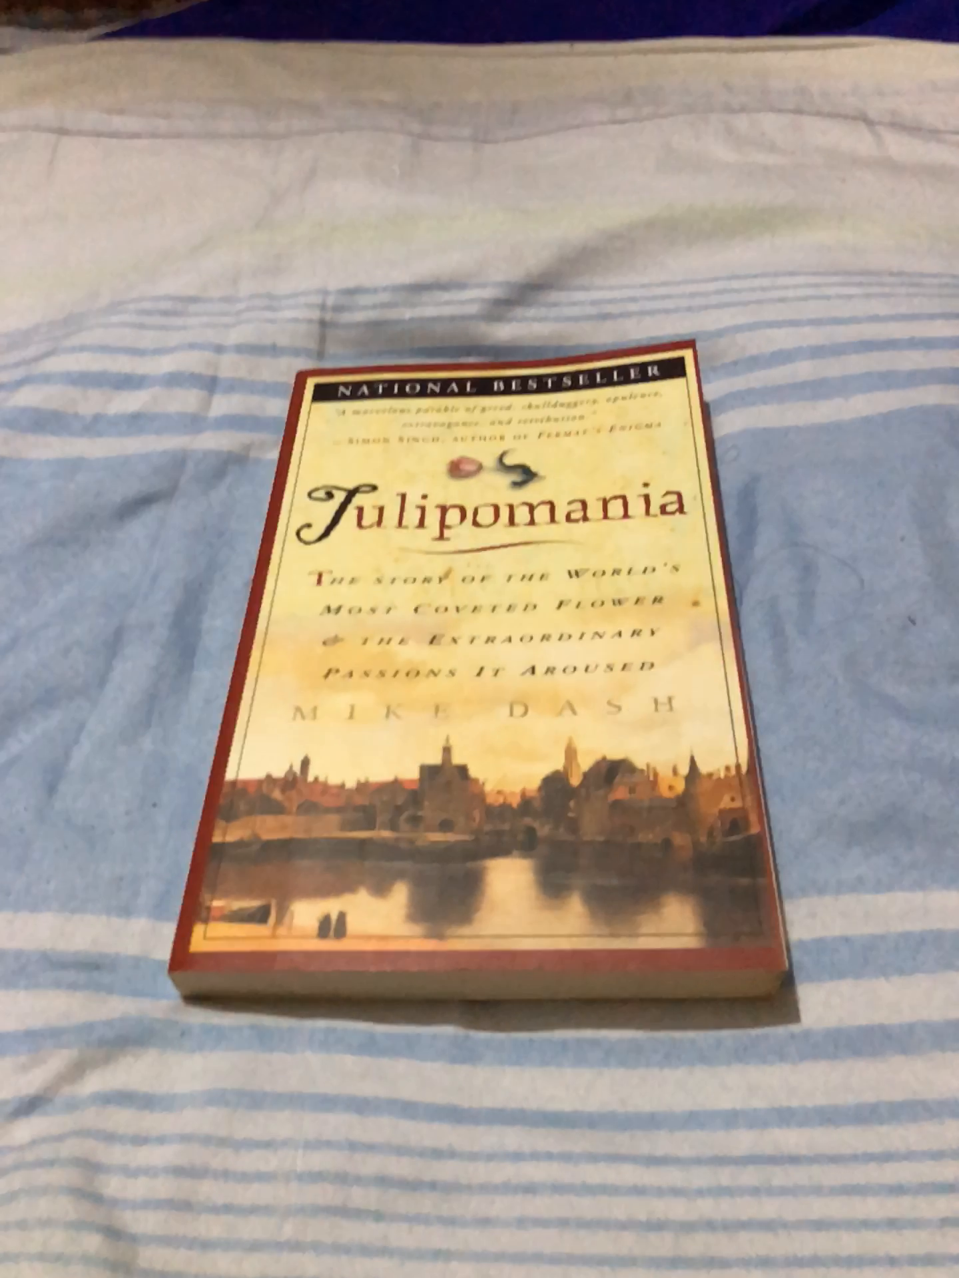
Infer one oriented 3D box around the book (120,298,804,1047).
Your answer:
[{"bbox_3d":[0.000,-0.007,0.309,0.140,0.050,0.231,-2,50,5],"label":"book"}]
